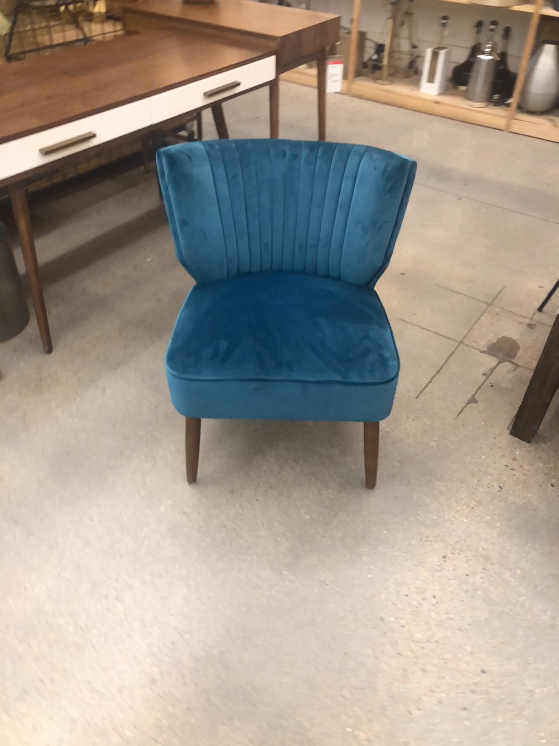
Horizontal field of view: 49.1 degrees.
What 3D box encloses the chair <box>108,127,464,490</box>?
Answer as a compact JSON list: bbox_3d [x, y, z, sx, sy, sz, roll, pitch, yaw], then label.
[{"bbox_3d":[0.008,-0.178,1.605,0.660,0.677,0.663,1,40,0],"label":"chair"}]
